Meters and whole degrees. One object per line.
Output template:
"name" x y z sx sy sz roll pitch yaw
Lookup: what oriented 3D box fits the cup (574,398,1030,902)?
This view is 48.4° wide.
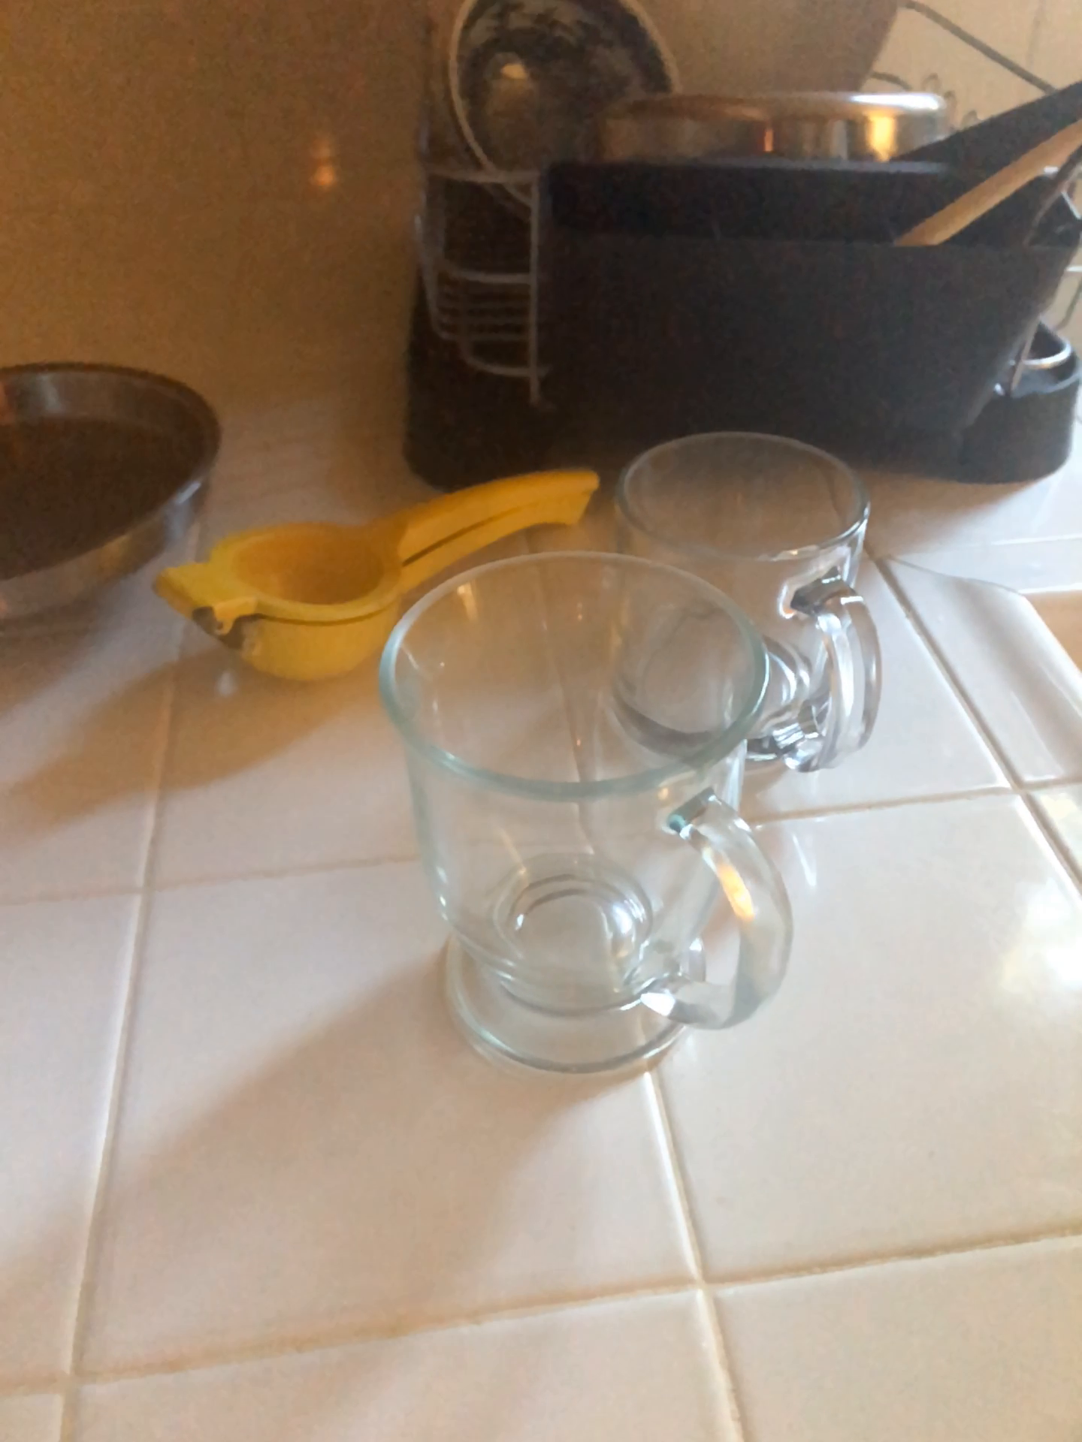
"cup" 0.081 -0.030 0.427 0.090 0.109 0.121 -21 45 -22

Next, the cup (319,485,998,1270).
"cup" 0.025 0.038 0.325 0.091 0.139 0.130 -33 50 -32
